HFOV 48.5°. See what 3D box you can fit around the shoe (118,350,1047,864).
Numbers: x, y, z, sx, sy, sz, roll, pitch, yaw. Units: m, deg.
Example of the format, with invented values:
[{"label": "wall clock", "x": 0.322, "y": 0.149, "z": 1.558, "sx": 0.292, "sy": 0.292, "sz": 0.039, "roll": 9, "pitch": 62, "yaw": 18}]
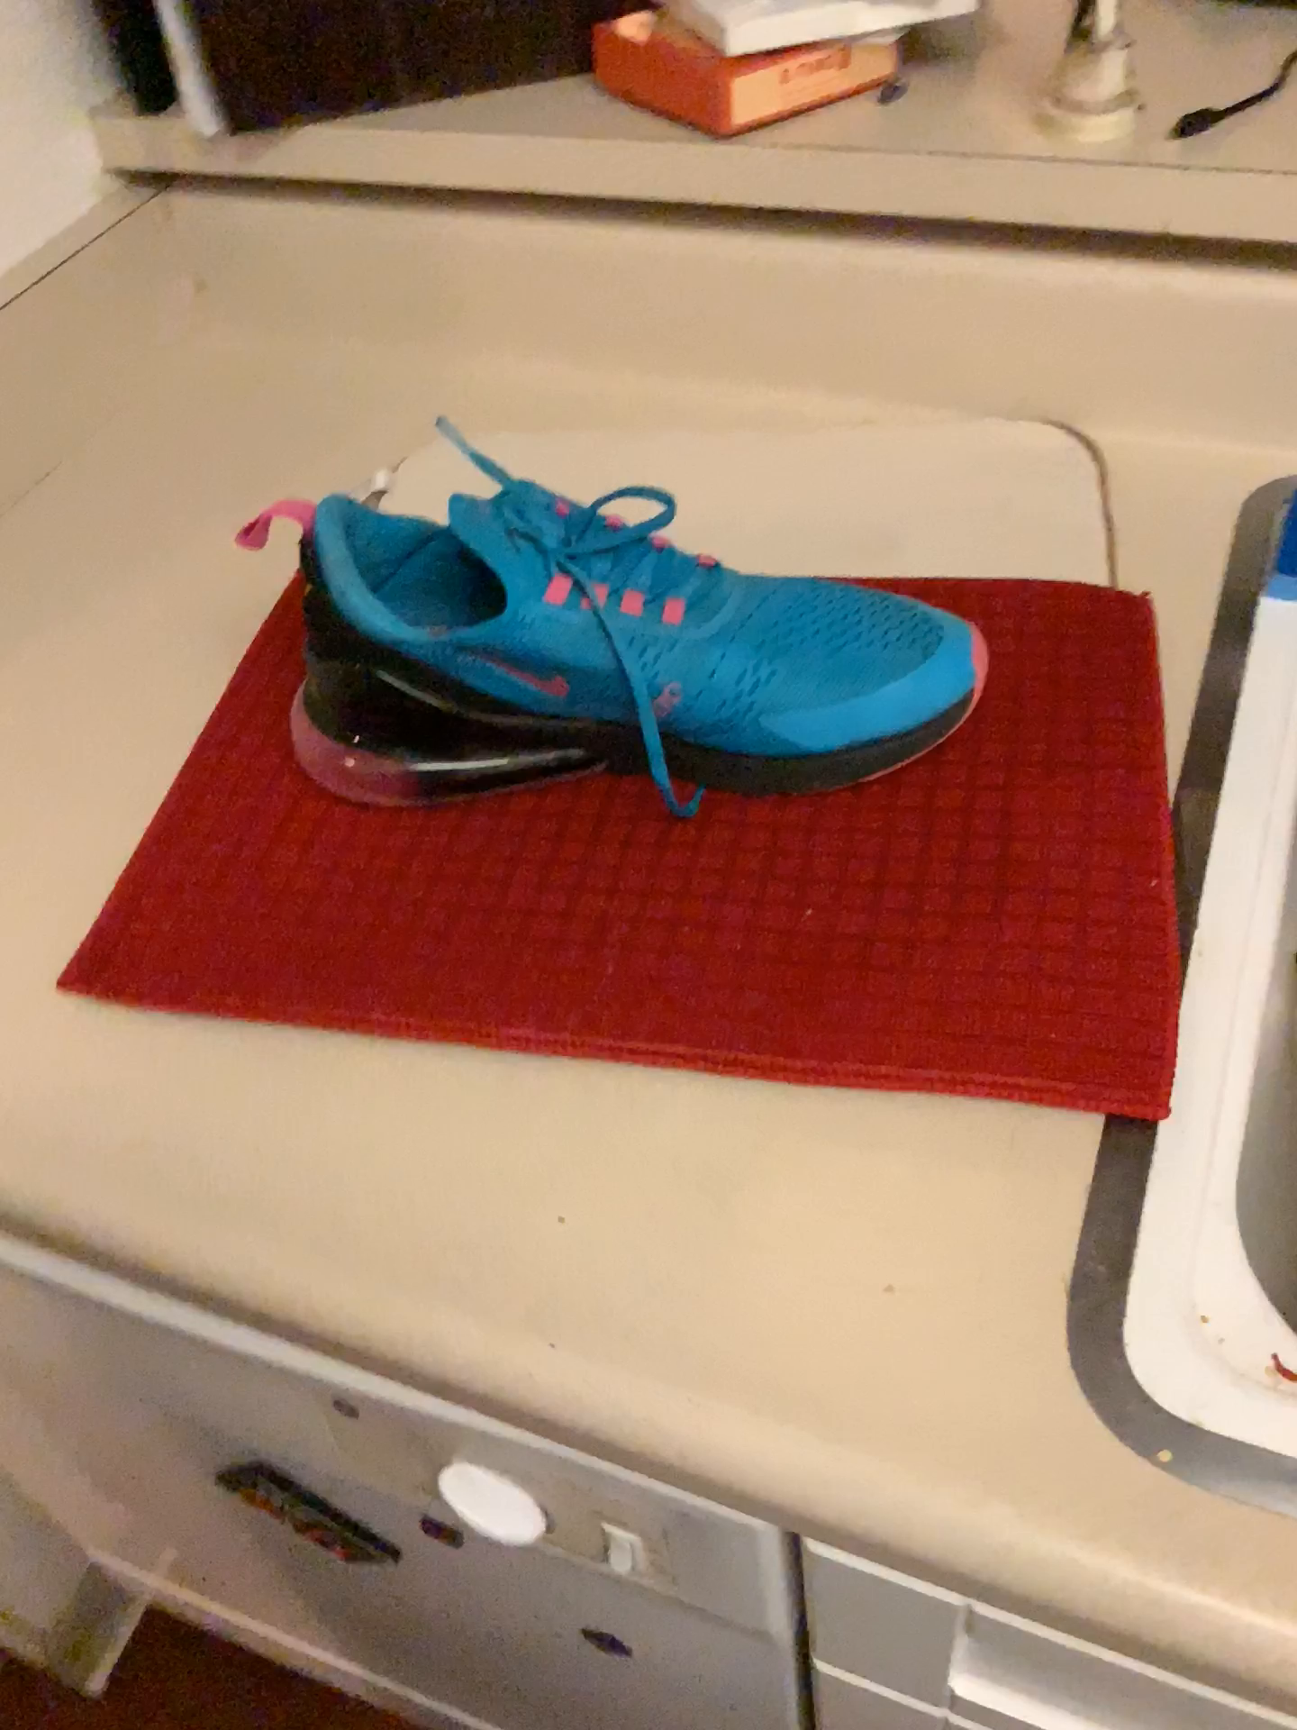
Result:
[{"label": "shoe", "x": -0.019, "y": -0.106, "z": 0.604, "sx": 0.330, "sy": 0.130, "sz": 0.150, "roll": -2, "pitch": 47, "yaw": 6}]
